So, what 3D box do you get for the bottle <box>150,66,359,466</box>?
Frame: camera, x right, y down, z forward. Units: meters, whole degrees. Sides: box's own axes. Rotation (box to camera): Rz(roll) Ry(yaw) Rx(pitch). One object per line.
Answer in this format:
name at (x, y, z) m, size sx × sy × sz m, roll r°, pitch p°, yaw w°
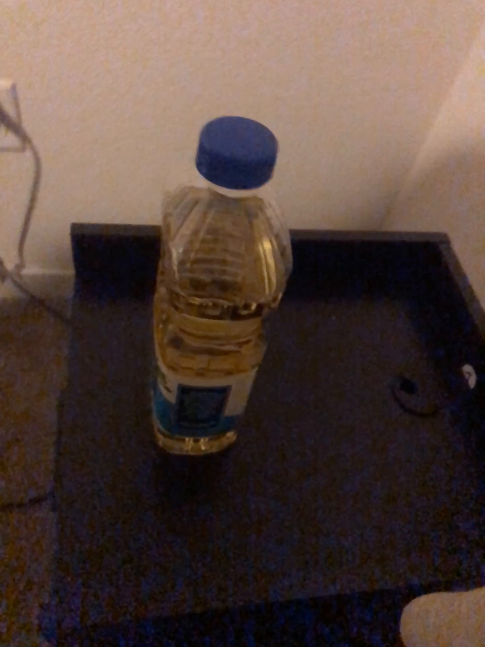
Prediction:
bottle at (-0.017, -0.012, 0.376) m, size 0.083 × 0.275 × 0.111 m, roll 0°, pitch 52°, yaw -12°
